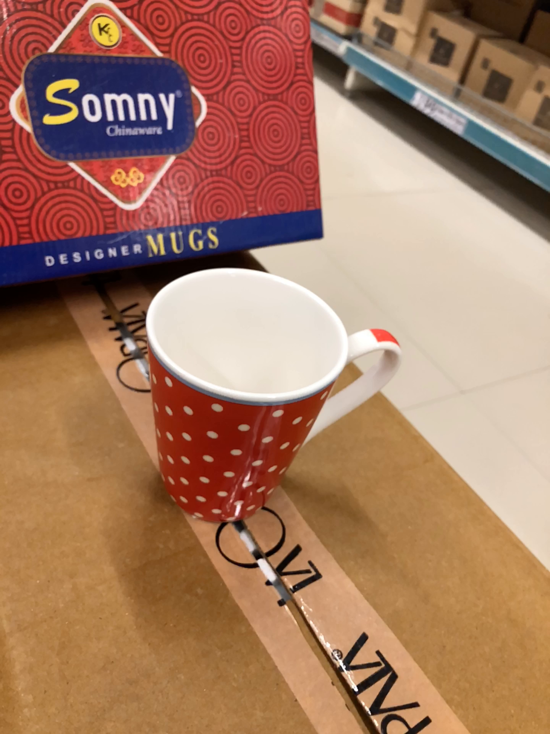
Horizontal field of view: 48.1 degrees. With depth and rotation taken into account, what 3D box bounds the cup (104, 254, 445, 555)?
[{"bbox_3d":[-0.008,0.012,0.284,0.120,0.089,0.080,-9,45,-26],"label":"cup"}]
